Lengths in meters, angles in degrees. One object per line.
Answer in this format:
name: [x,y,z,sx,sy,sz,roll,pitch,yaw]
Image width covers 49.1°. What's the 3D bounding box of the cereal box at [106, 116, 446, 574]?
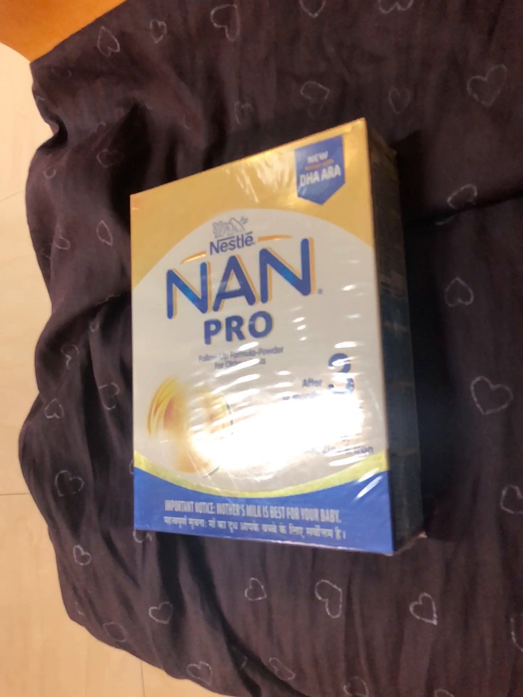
cereal box: [0.001,0.004,0.307,0.160,0.070,0.190,-7,82,32]
